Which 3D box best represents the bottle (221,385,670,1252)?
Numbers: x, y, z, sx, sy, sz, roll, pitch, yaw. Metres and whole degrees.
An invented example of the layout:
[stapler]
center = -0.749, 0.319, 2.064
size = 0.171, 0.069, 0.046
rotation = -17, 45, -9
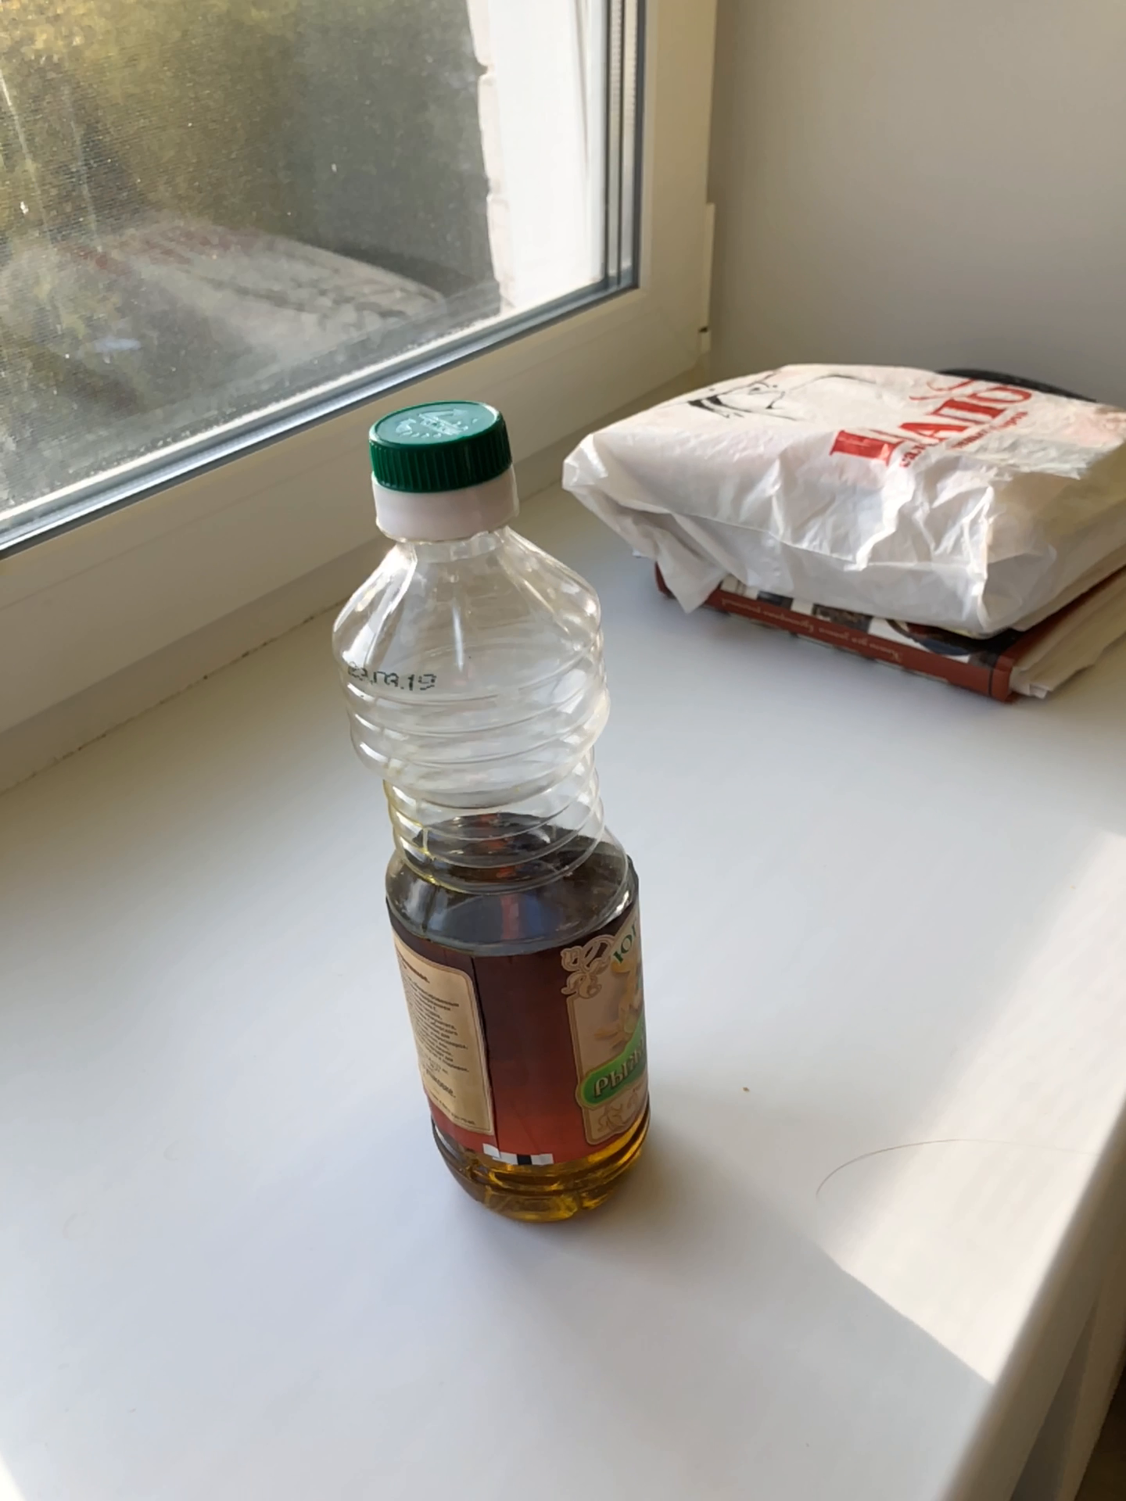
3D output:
[bottle]
center = -0.017, 0.025, 0.316
size = 0.067, 0.218, 0.061
rotation = 5, 33, 17
